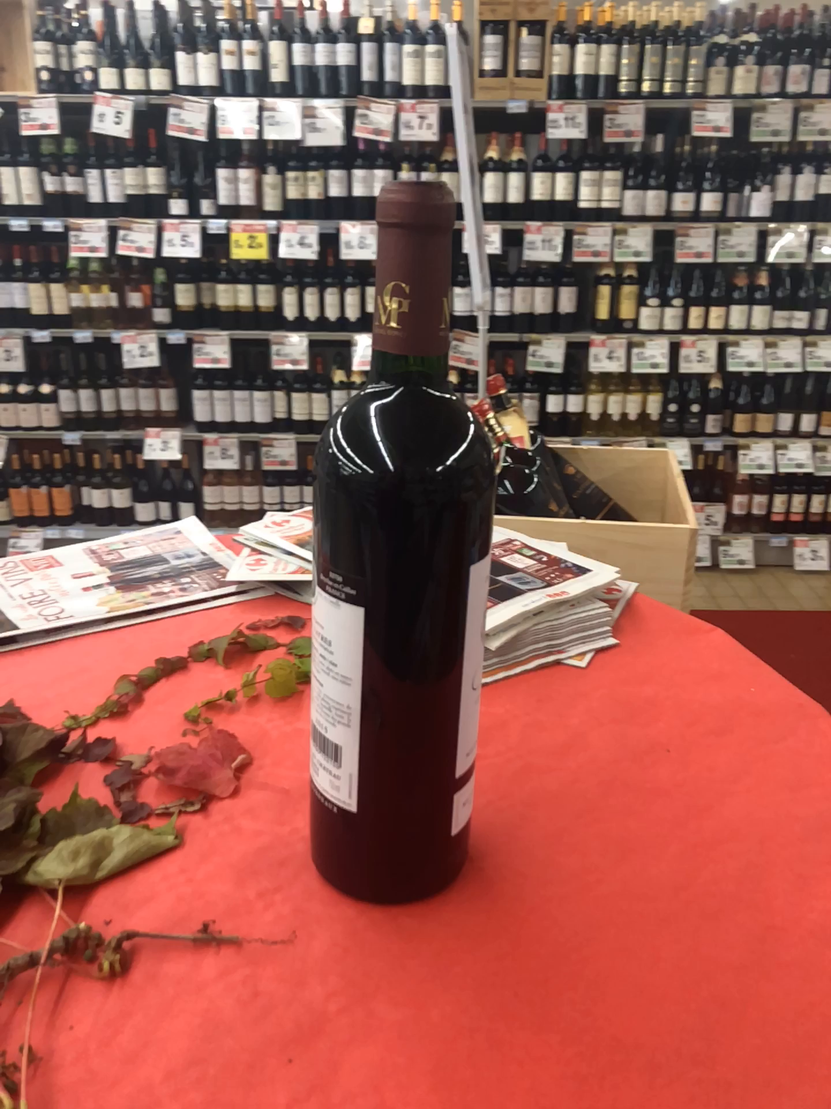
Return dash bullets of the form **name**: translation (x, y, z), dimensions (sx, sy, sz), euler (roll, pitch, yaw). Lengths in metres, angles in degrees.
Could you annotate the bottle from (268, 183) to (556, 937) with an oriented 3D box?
- **bottle**: translation (-0.007, 0.005, 0.388), dimensions (0.090, 0.298, 0.090), euler (0, 20, 0)
